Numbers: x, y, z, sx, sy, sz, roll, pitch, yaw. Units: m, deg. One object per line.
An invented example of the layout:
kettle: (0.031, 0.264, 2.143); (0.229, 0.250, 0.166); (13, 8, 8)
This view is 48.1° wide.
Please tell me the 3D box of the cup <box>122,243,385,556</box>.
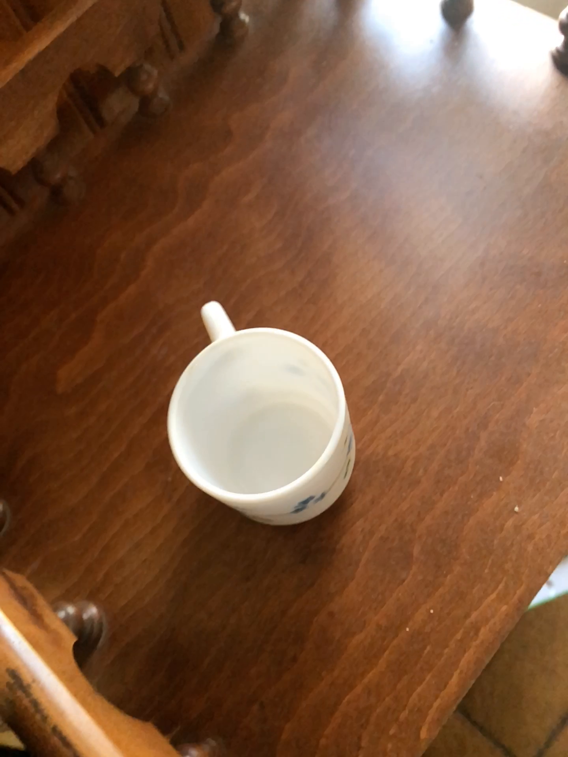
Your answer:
cup: (-0.009, 0.011, 0.225); (0.060, 0.060, 0.080); (-21, 67, 2)
